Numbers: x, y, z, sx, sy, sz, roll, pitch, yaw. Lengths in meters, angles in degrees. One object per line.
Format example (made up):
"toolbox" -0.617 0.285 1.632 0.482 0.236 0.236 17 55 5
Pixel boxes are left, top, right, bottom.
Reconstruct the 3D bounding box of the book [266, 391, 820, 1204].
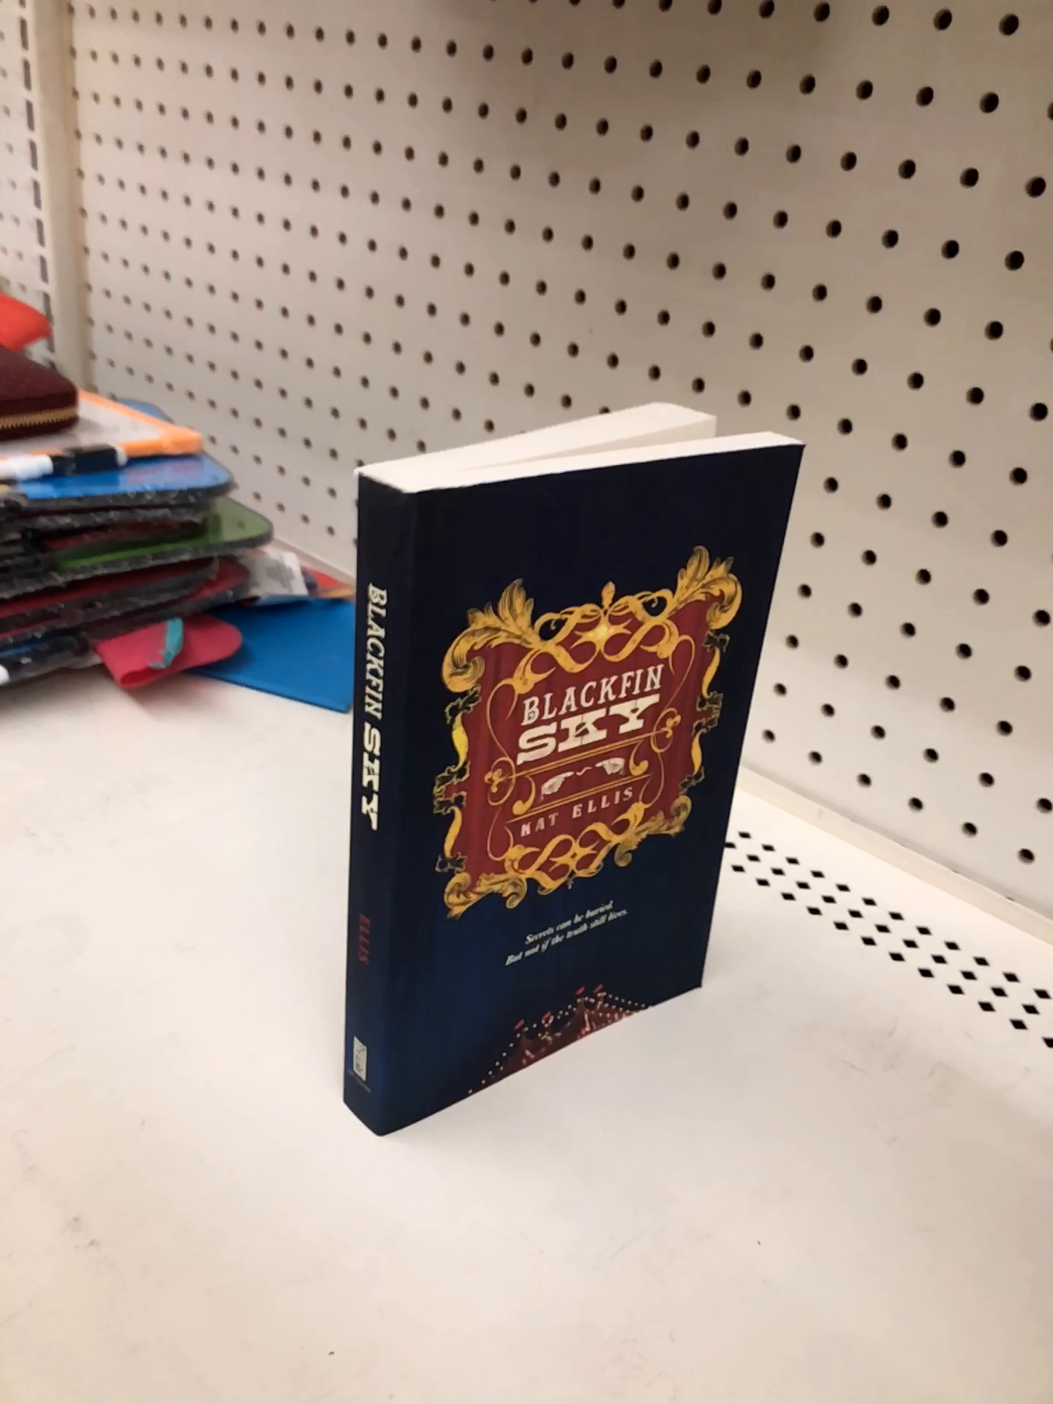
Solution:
"book" 0.004 0.021 0.356 0.151 0.205 0.059 -19 34 -40
